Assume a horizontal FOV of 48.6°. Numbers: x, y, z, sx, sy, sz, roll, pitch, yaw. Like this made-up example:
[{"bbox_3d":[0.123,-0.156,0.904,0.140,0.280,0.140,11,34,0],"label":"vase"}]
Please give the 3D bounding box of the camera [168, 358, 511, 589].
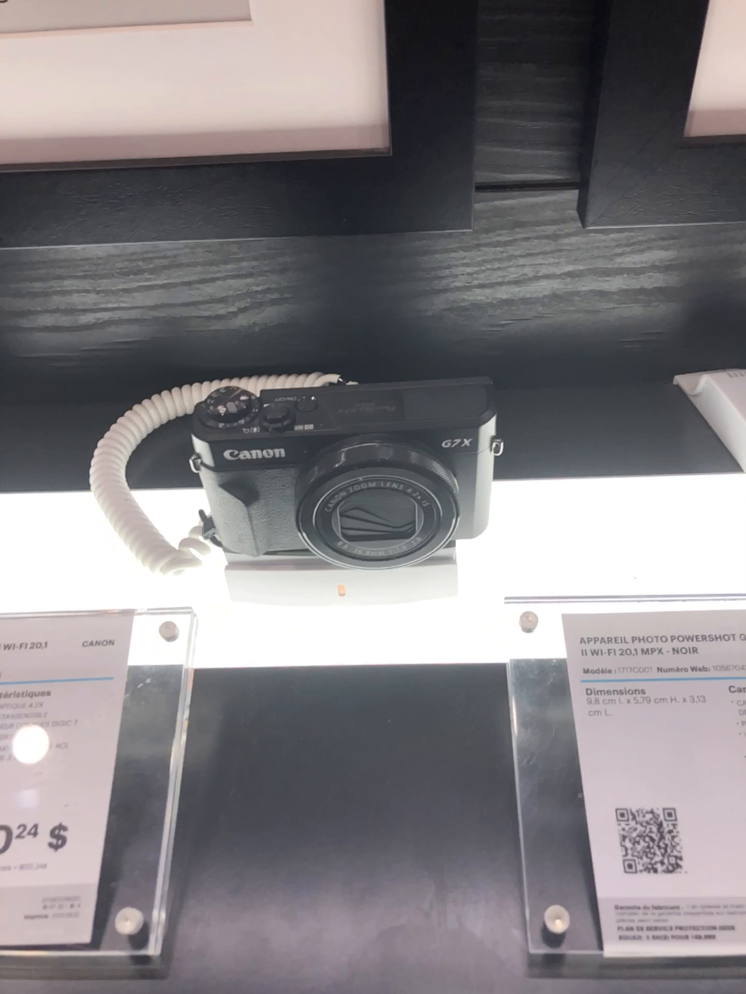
[{"bbox_3d":[-0.009,-0.006,0.303,0.110,0.079,0.030,-3,43,1],"label":"camera"}]
